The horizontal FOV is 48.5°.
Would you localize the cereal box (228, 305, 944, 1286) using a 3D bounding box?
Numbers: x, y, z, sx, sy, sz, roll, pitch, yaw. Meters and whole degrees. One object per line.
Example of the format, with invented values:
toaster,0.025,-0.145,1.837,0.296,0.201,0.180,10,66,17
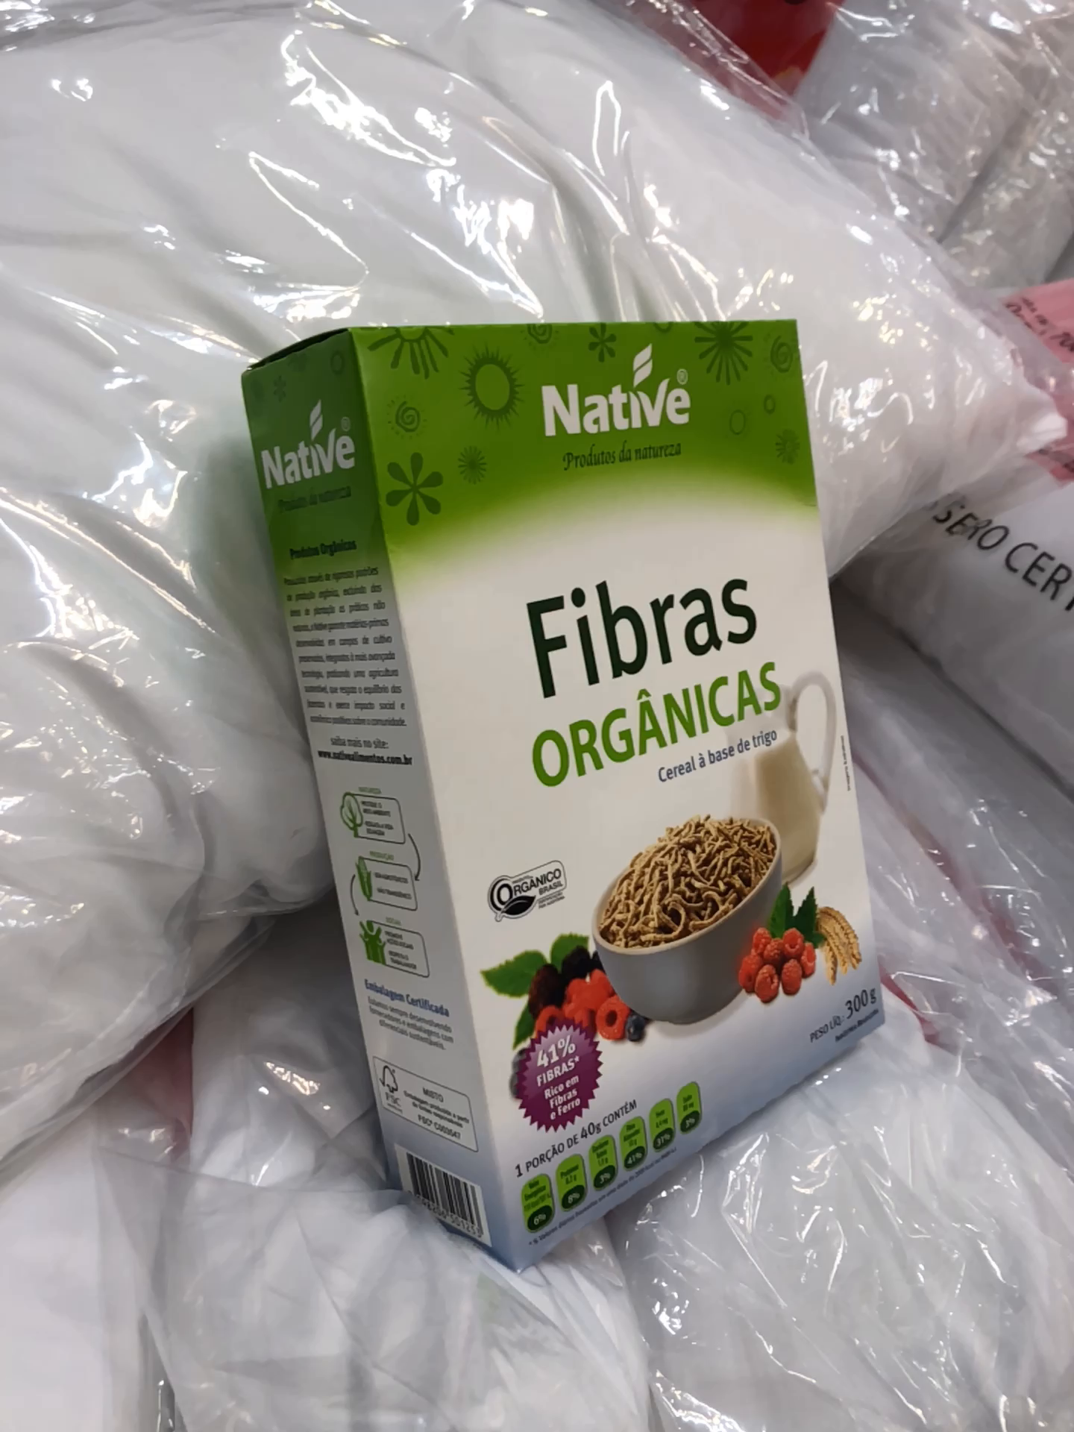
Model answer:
cereal box,0.030,0.004,0.353,0.191,0.229,0.060,-16,11,-38
